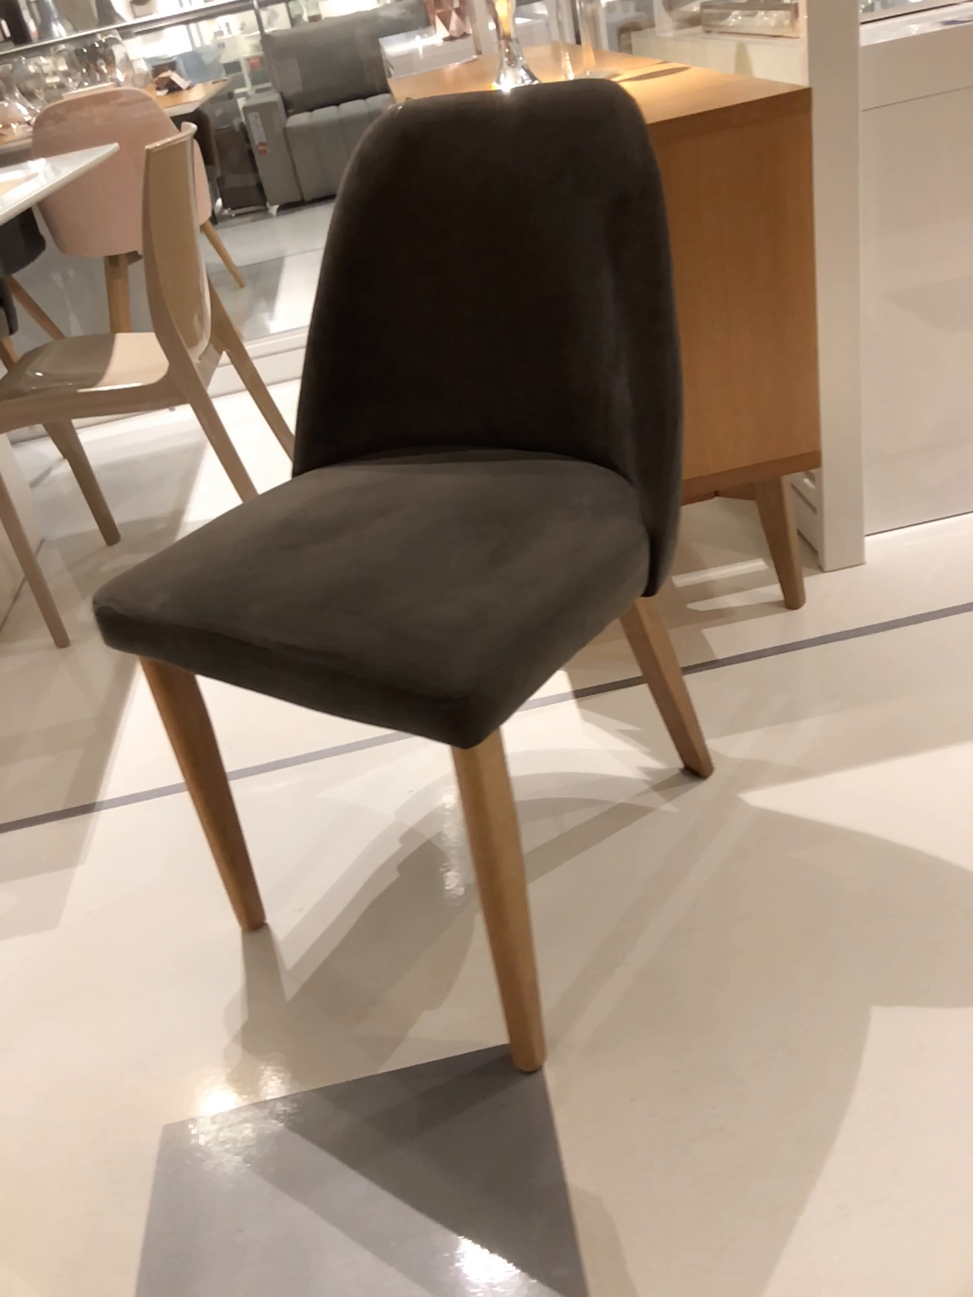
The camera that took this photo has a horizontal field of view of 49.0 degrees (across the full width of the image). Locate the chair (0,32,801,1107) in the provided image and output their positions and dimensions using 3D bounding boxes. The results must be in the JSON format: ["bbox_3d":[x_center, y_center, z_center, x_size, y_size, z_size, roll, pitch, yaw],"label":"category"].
[{"bbox_3d":[-0.062,-0.107,1.096,0.531,0.774,0.563,12,39,36],"label":"chair"}]
